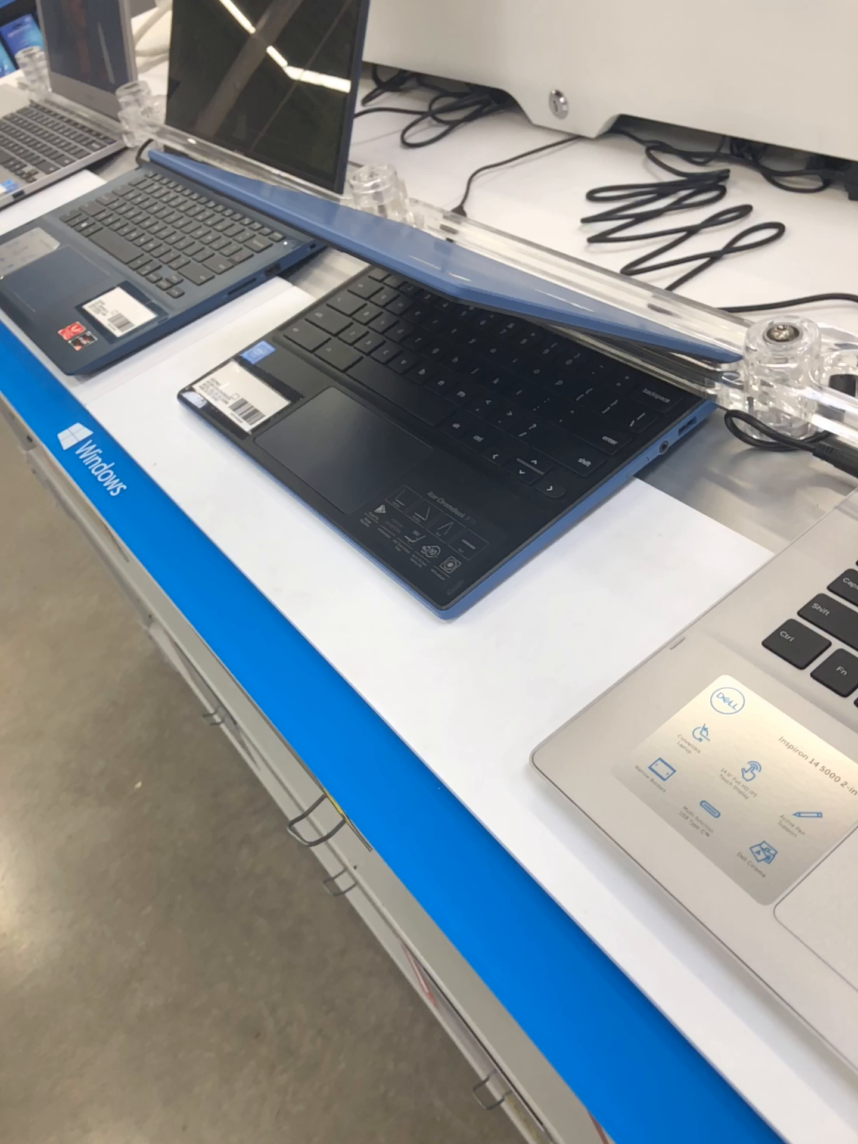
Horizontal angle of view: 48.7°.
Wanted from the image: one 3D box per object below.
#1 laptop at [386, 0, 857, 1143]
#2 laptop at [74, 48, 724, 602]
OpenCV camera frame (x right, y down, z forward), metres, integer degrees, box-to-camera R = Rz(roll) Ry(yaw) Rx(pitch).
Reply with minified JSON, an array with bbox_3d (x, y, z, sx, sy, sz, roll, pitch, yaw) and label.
[{"bbox_3d":[0.210,0.012,0.184,0.246,0.216,0.356,-36,46,-15],"label":"laptop"},{"bbox_3d":[-0.023,-0.150,0.492,0.184,0.128,0.281,-38,47,-16],"label":"laptop"}]
